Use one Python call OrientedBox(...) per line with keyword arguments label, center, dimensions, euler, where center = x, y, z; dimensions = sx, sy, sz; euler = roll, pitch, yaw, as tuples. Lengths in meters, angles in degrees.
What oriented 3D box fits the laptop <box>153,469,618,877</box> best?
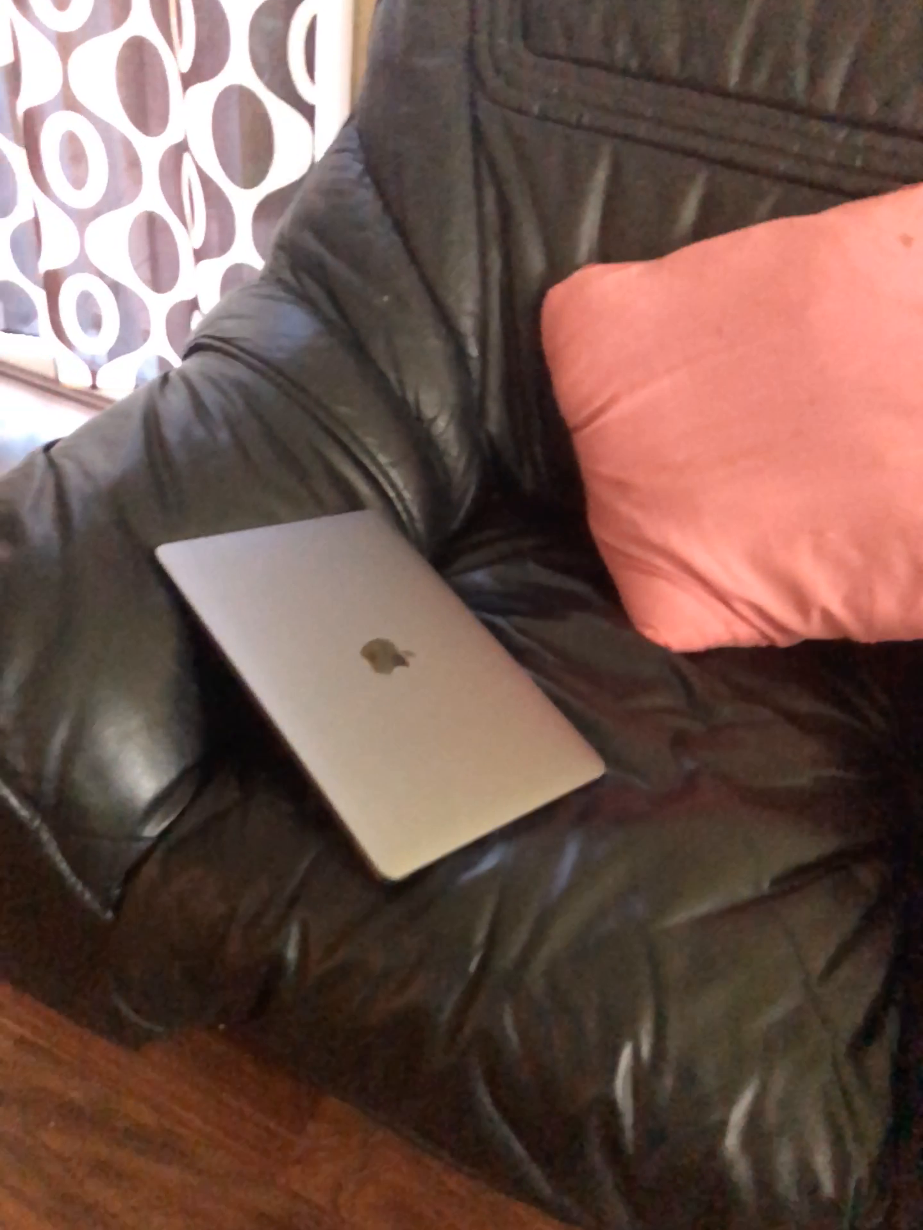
OrientedBox(label="laptop", center=(-0.047, 0.014, 0.644), dimensions=(0.186, 0.036, 0.265), euler=(-15, 53, -43))
